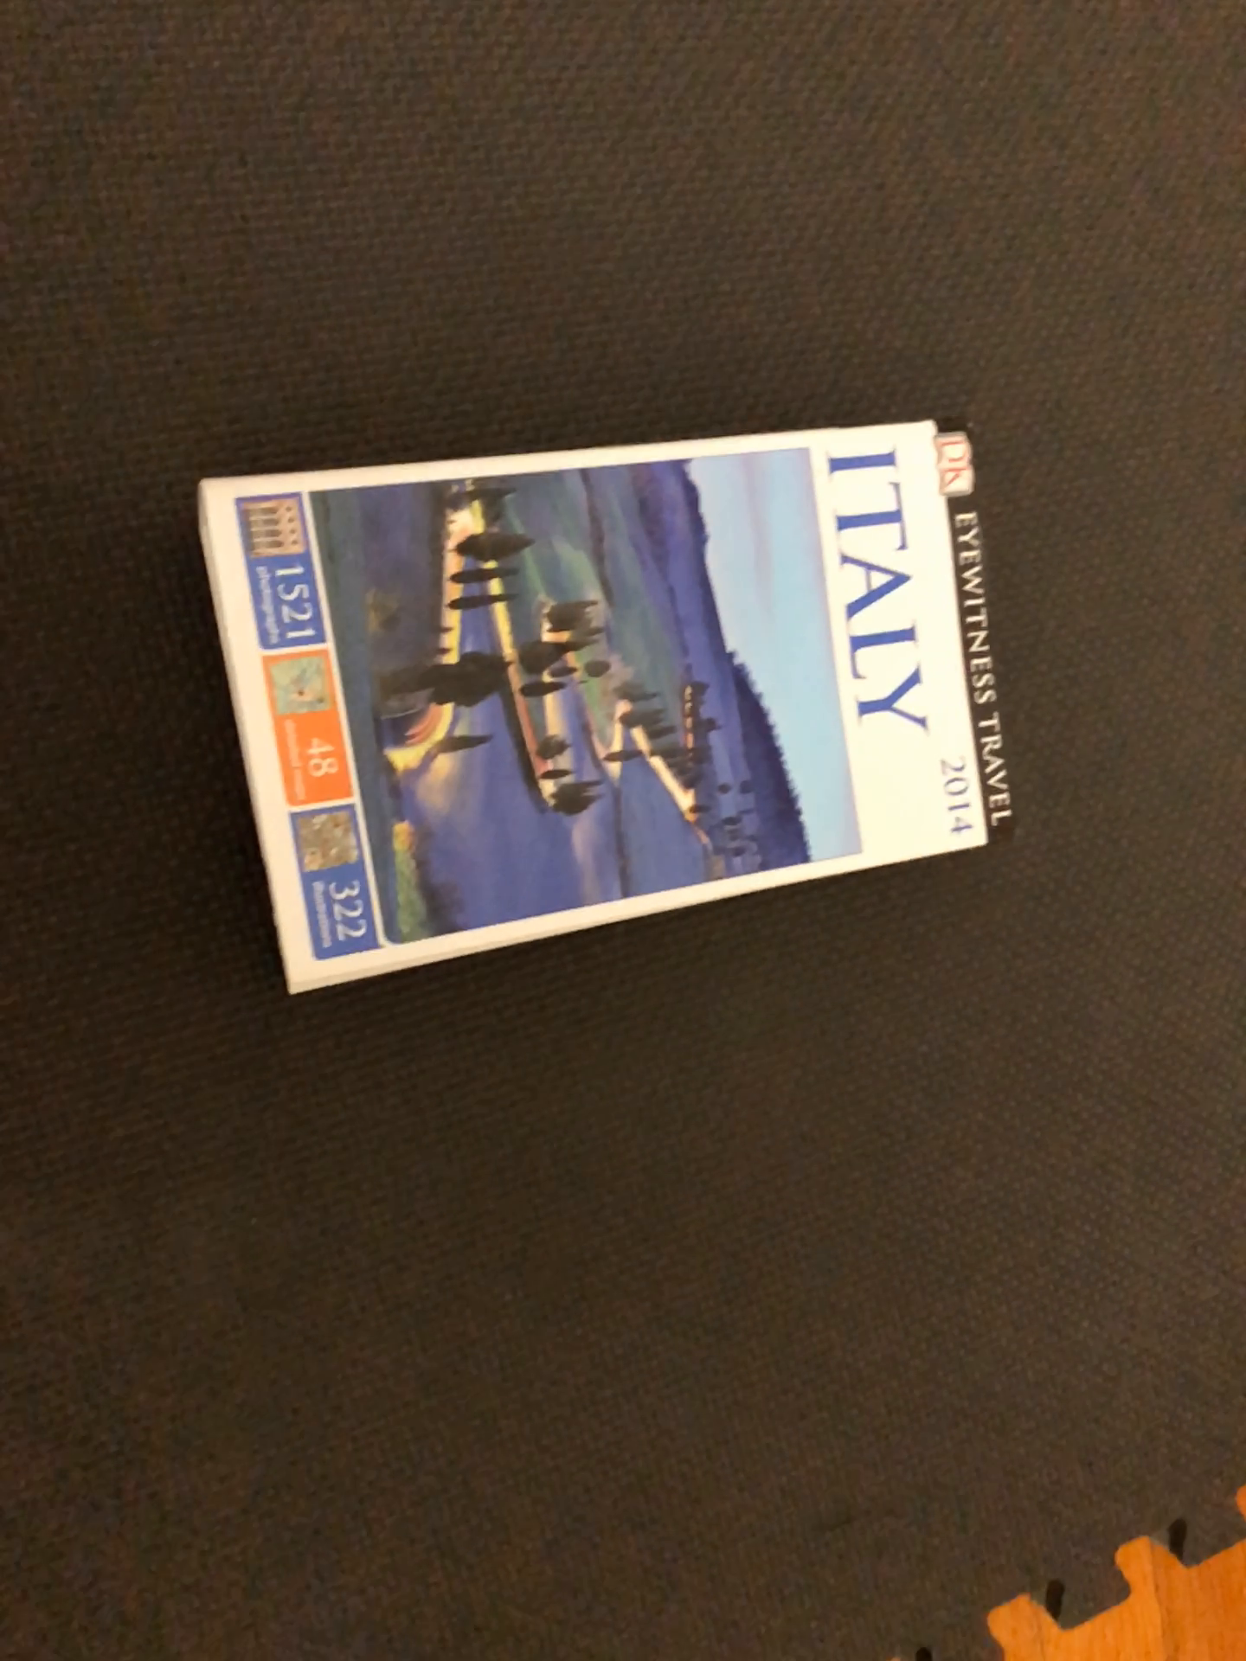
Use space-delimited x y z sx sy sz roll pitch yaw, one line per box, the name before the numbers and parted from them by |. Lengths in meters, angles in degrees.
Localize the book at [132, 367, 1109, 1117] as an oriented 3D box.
book | 0.009 -0.033 0.385 0.250 0.040 0.160 -11 94 -19
